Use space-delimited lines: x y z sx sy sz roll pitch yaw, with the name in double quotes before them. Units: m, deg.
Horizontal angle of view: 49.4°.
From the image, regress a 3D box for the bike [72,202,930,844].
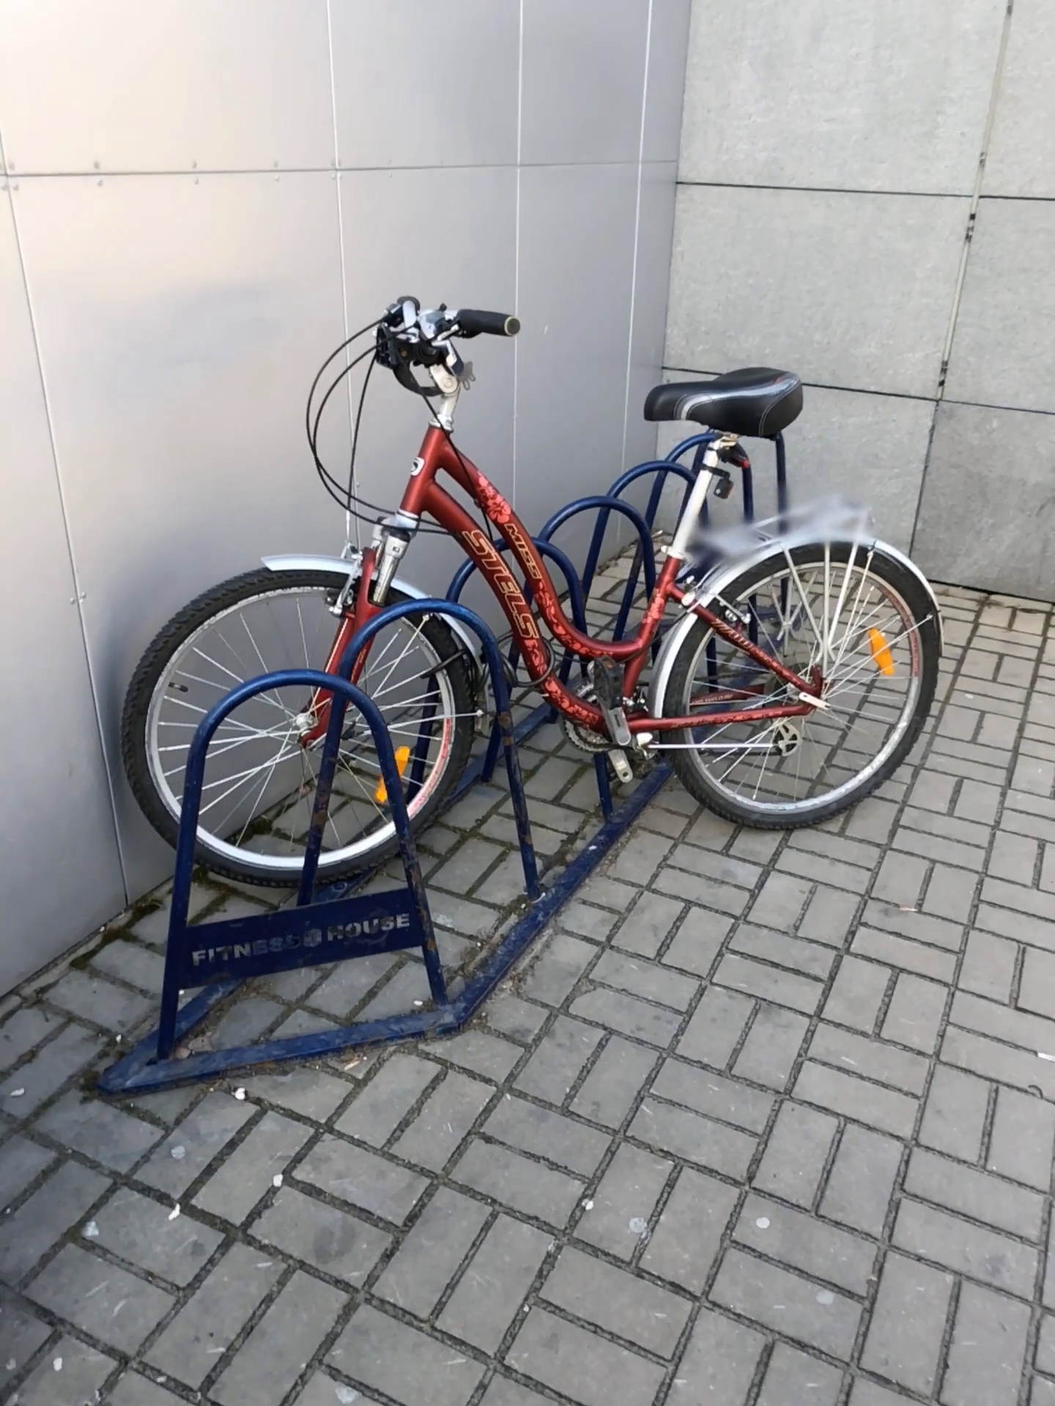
"bike" -0.084 -0.317 2.166 1.304 0.973 0.599 -1 26 -15
